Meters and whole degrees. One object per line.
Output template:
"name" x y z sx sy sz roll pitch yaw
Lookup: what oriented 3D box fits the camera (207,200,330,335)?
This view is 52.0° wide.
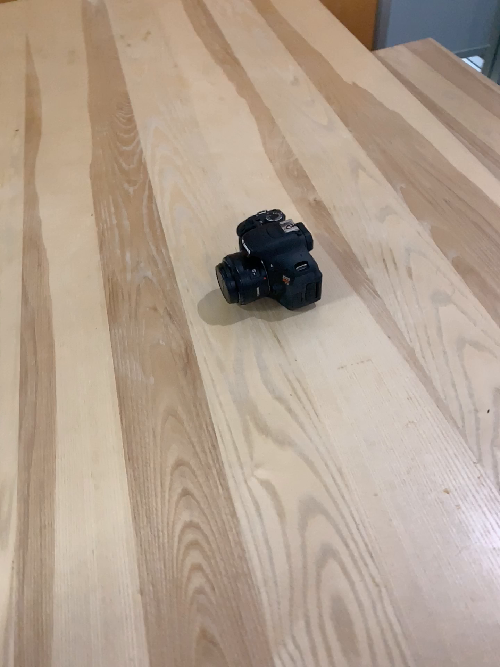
"camera" 0.020 -0.090 0.680 0.114 0.101 0.120 -17 51 -17
